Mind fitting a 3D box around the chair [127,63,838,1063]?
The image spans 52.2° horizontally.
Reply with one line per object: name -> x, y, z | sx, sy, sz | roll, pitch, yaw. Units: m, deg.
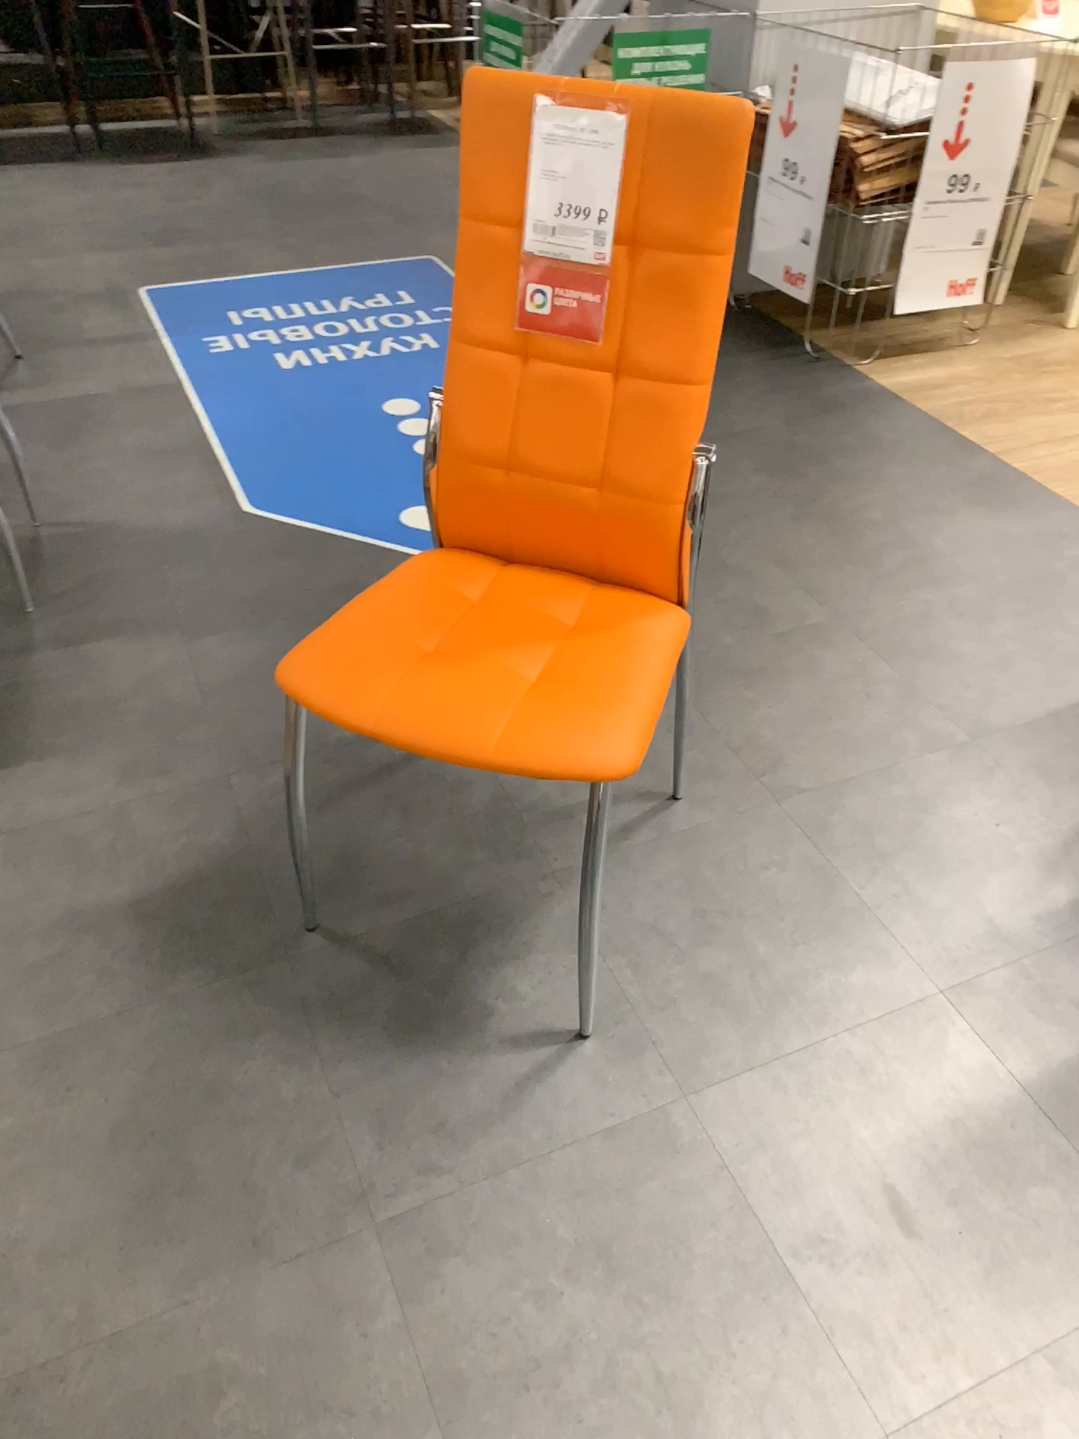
chair -> -0.028, -0.173, 1.374 | 0.490, 1.014, 0.543 | 17, 41, 18
